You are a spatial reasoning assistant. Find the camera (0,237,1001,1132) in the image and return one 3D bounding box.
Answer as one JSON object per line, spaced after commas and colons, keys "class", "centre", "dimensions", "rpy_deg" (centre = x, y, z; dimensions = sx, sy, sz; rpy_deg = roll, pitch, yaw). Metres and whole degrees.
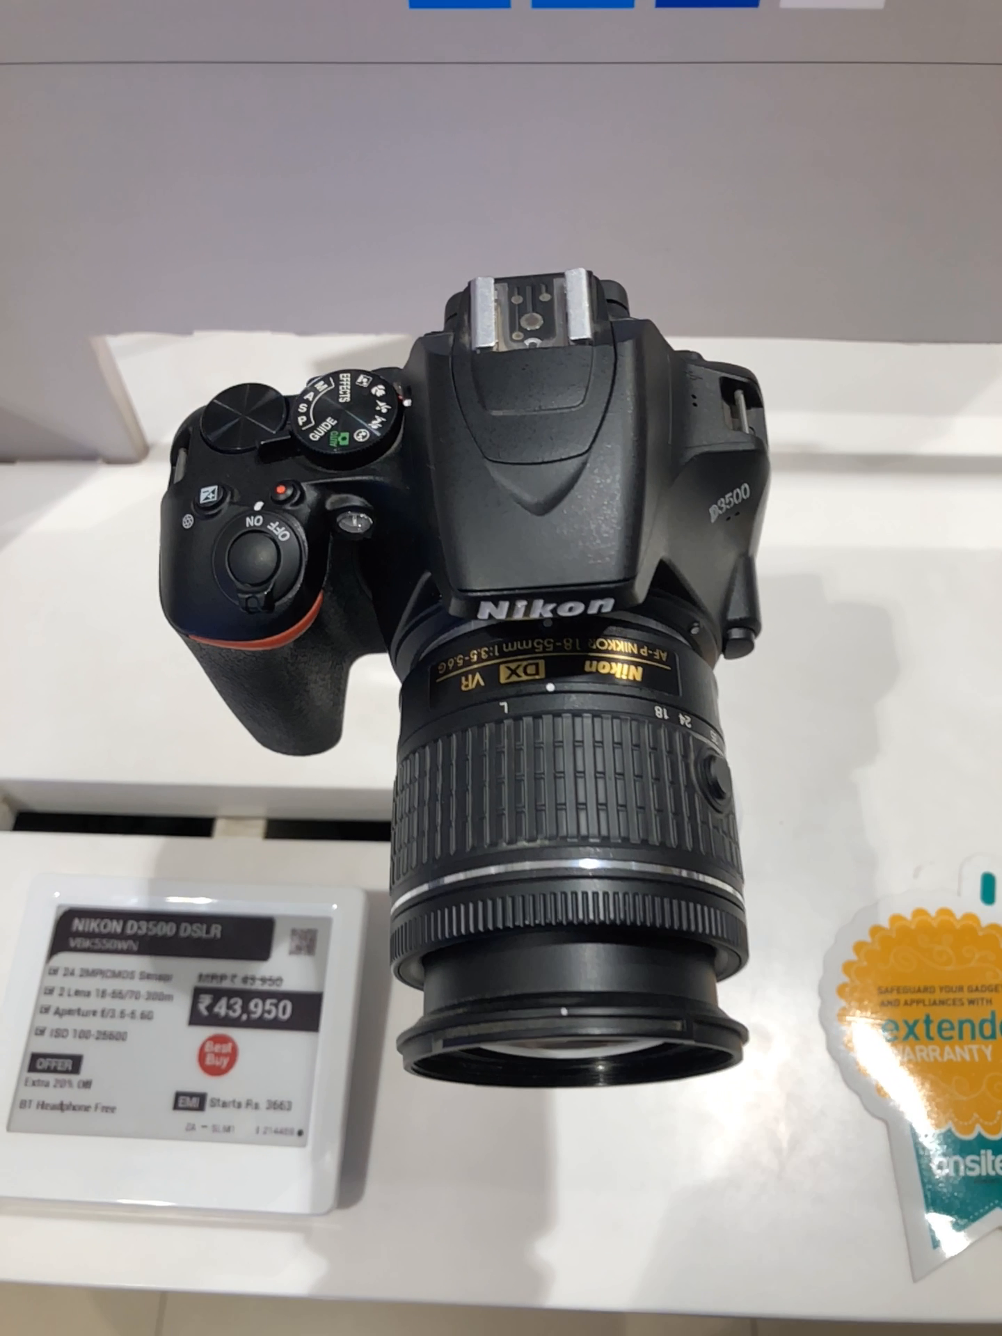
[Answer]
{"class": "camera", "centre": [-0.003, 0.006, 0.195], "dimensions": [0.120, 0.090, 0.121], "rpy_deg": [-3, 59, 0]}
